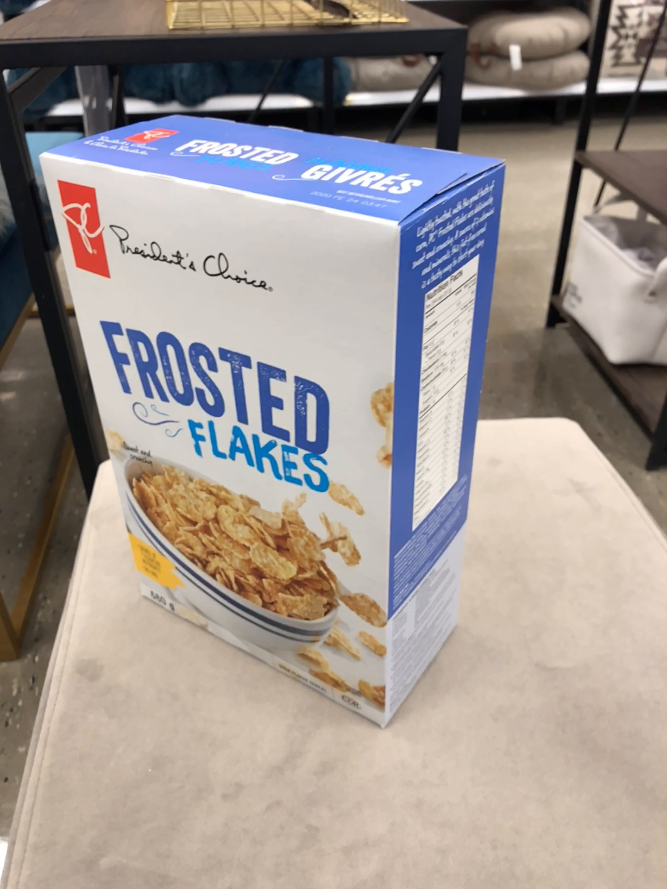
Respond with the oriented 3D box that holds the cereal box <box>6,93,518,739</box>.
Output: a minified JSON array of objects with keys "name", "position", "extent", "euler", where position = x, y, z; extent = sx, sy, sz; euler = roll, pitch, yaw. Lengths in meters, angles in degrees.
[{"name":"cereal box","position":[-0.033,-0.014,0.401],"extent":[0.200,0.289,0.100],"euler":[20,40,28]}]
